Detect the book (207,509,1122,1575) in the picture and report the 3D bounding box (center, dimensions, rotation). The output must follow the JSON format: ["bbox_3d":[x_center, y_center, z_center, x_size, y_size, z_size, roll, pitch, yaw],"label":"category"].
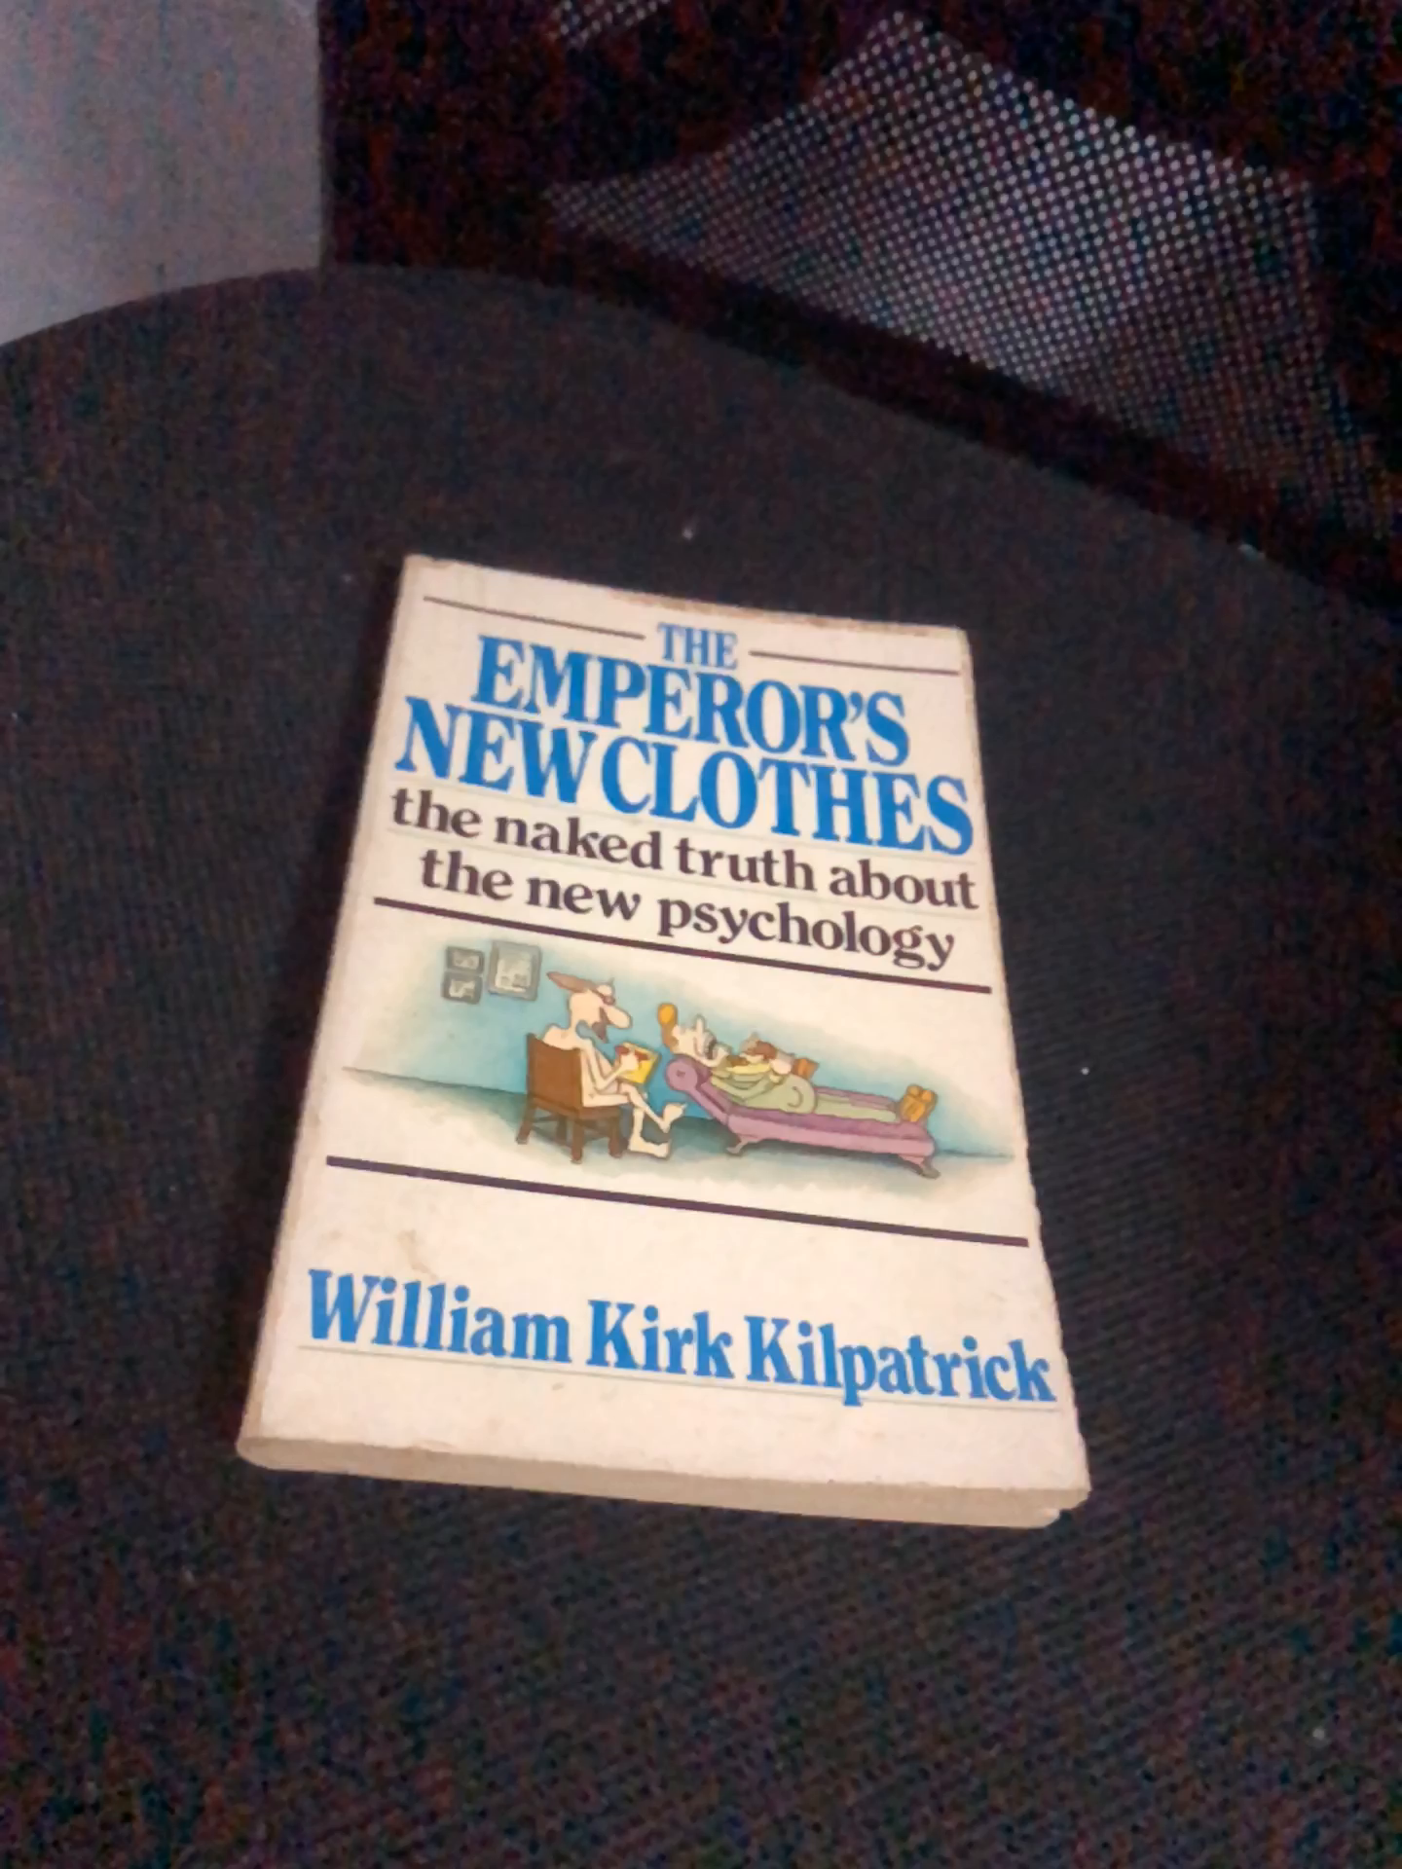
[{"bbox_3d":[-0.002,0.004,0.321,0.144,0.020,0.231,9,50,-9],"label":"book"}]
